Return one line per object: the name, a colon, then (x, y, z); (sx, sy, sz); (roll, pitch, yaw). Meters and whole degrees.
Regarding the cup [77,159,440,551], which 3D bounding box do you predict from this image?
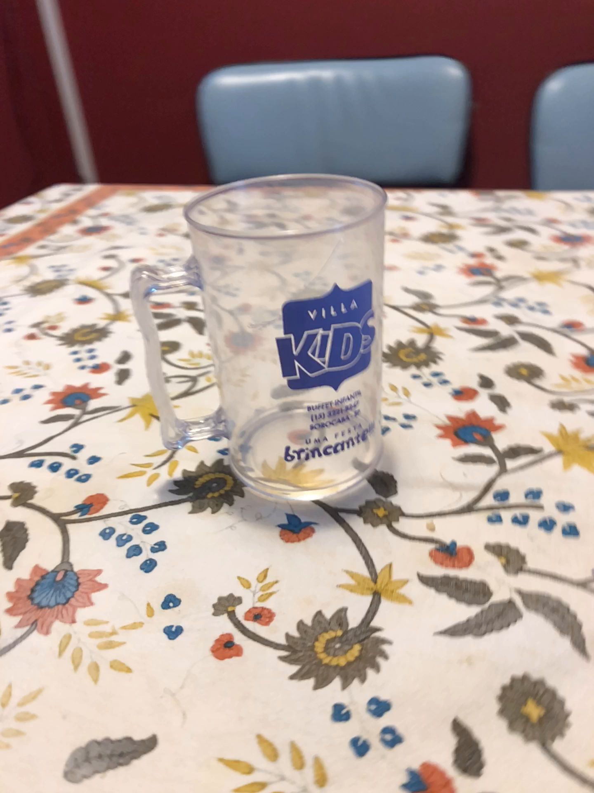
cup: (-0.015, -0.022, 0.262); (0.110, 0.109, 0.081); (-14, 32, -14)
